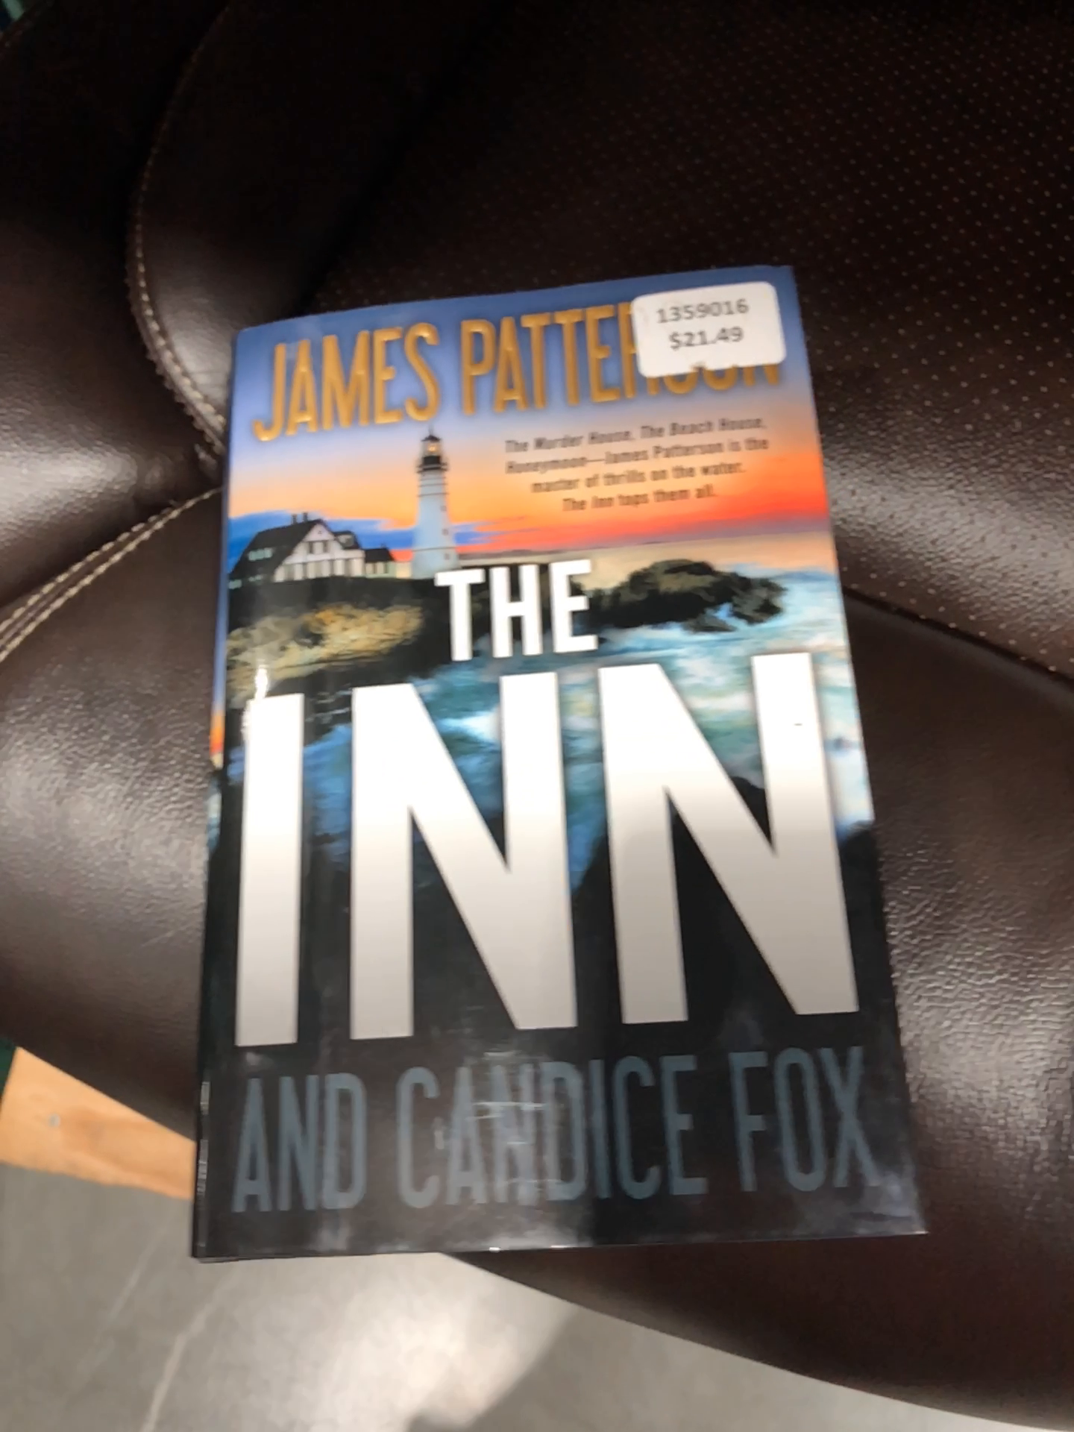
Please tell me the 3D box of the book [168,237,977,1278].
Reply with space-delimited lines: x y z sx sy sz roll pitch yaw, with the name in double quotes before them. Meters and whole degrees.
"book" 0.001 0.003 0.311 0.170 0.040 0.250 -5 71 7
